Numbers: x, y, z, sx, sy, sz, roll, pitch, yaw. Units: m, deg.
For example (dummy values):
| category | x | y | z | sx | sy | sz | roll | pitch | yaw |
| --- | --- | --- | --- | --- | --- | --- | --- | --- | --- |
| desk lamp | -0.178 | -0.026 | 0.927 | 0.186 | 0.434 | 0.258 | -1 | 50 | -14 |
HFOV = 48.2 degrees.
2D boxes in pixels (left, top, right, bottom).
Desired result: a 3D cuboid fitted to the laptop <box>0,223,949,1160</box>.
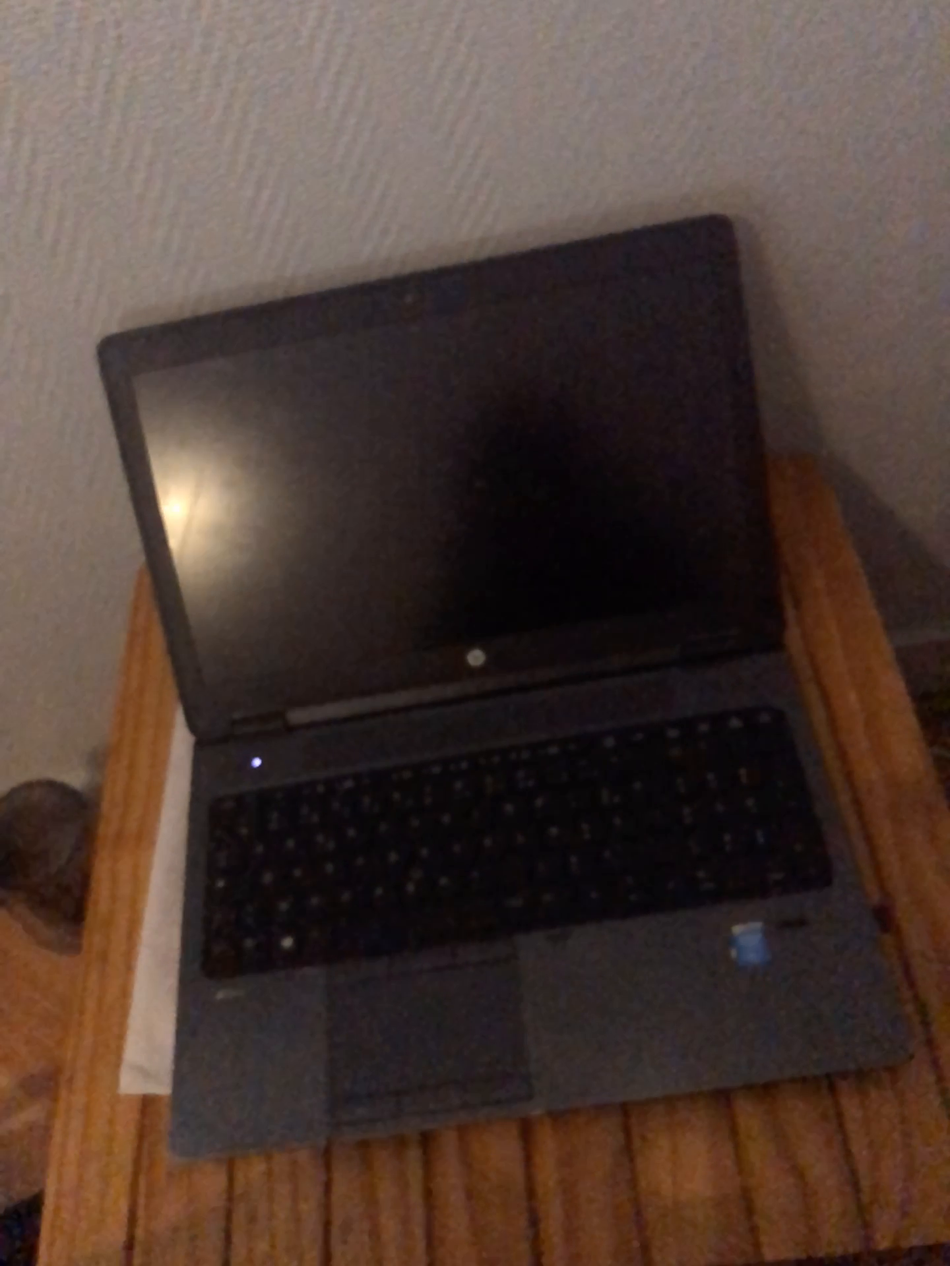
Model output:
| category | x | y | z | sx | sy | sz | roll | pitch | yaw |
| --- | --- | --- | --- | --- | --- | --- | --- | --- | --- |
| laptop | -0.019 | 0.020 | 0.583 | 0.382 | 0.196 | 0.411 | -10 | 54 | 4 |
